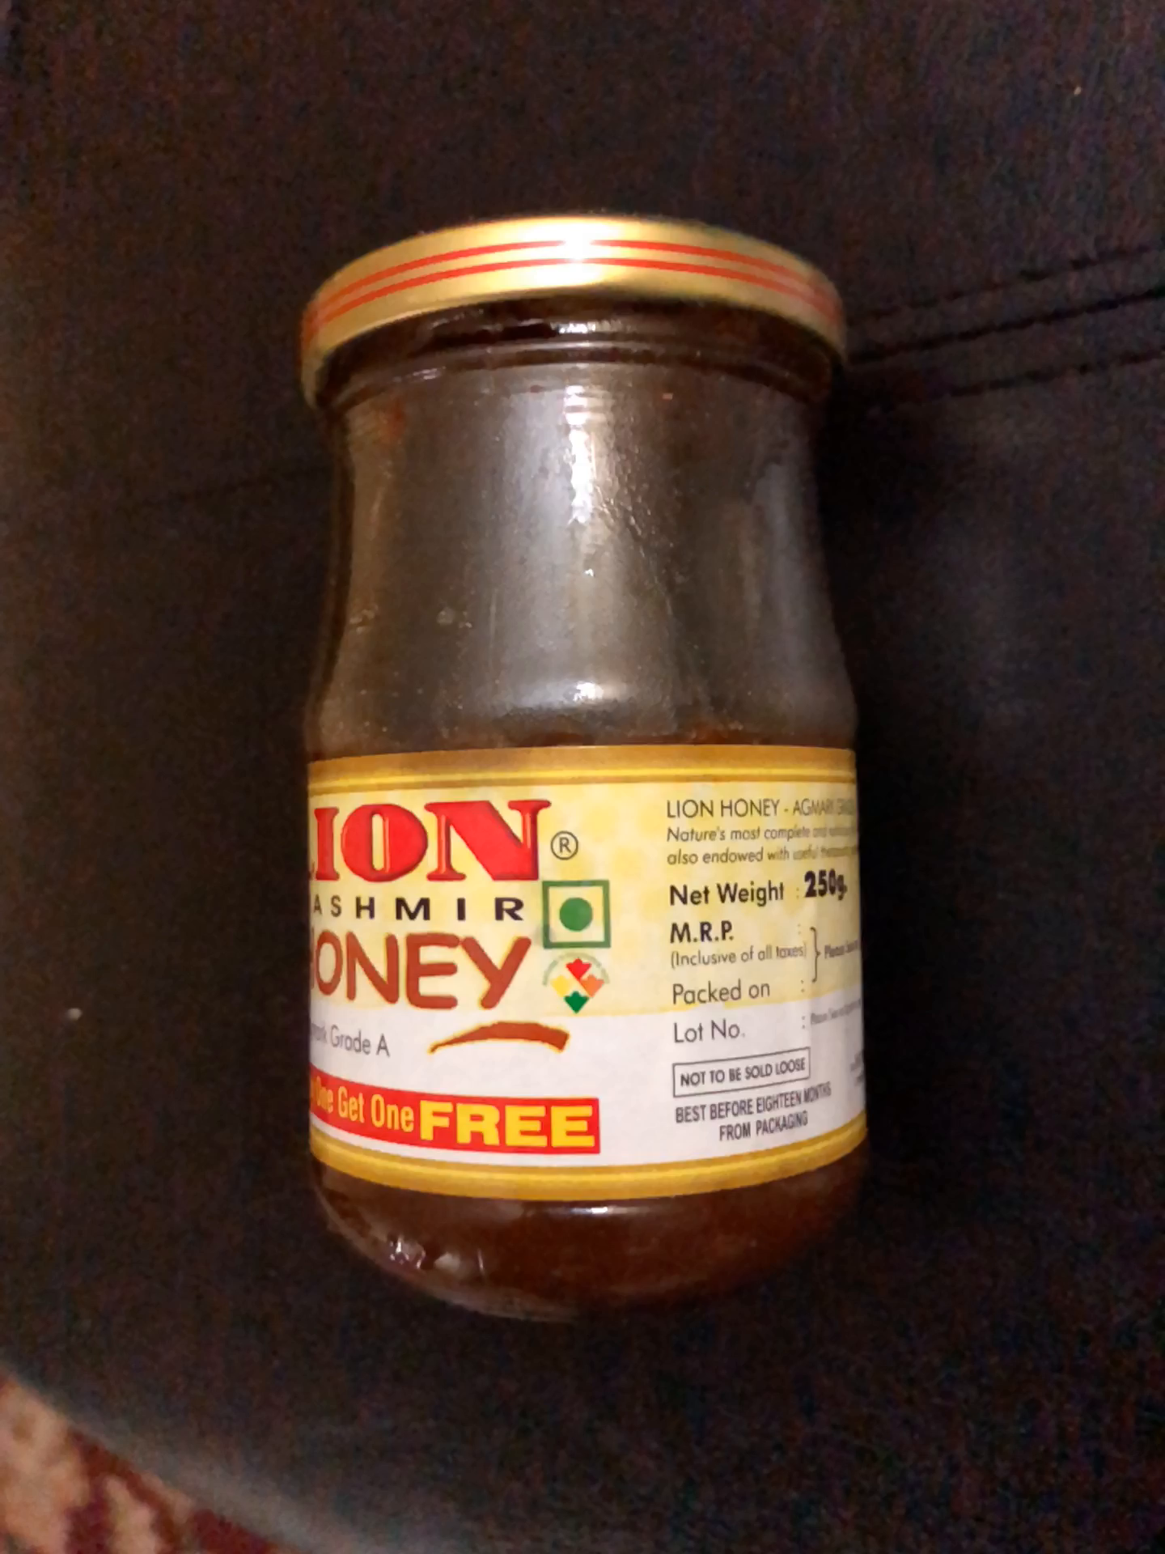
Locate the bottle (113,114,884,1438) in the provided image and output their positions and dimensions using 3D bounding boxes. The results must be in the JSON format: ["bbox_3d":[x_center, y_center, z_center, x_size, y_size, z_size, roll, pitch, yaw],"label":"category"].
[{"bbox_3d":[-0.008,0.000,0.150,0.060,0.059,0.108,-1,91,38],"label":"bottle"}]
